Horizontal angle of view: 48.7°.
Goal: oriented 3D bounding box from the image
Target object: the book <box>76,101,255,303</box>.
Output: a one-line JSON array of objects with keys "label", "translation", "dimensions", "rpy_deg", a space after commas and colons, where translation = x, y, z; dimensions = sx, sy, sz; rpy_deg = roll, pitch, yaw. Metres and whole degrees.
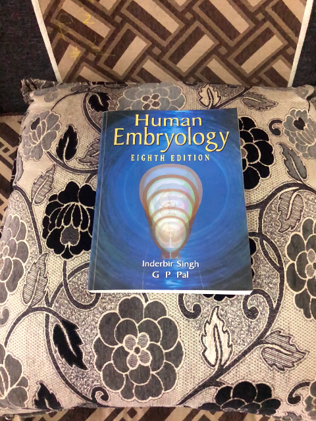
[{"label": "book", "translation": [0.010, -0.022, 0.454], "dimensions": [0.200, 0.030, 0.270], "rpy_deg": [1, 68, 1]}]
